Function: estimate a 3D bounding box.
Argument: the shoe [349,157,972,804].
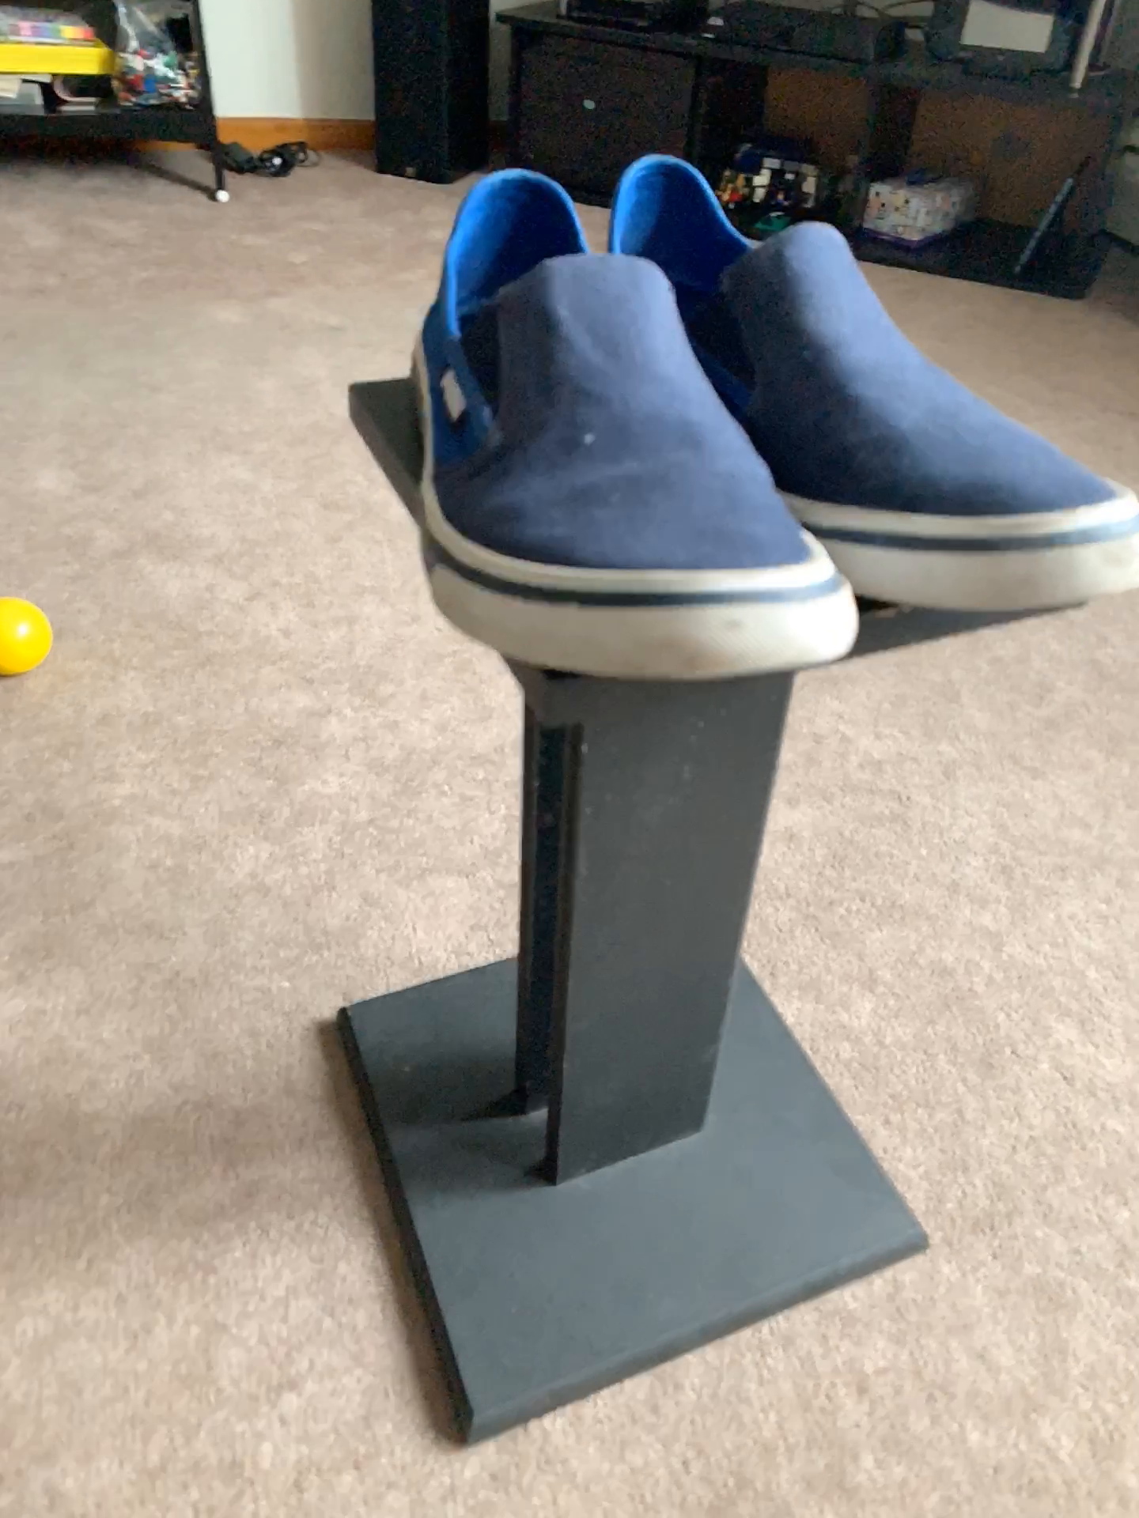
[{"bbox_3d":[-0.002,-0.119,0.380,0.120,0.079,0.303,-5,39,-10],"label":"shoe"}]

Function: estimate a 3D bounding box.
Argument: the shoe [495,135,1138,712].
[{"bbox_3d":[0.089,-0.146,0.415,0.120,0.079,0.302,-15,42,-22],"label":"shoe"}]
